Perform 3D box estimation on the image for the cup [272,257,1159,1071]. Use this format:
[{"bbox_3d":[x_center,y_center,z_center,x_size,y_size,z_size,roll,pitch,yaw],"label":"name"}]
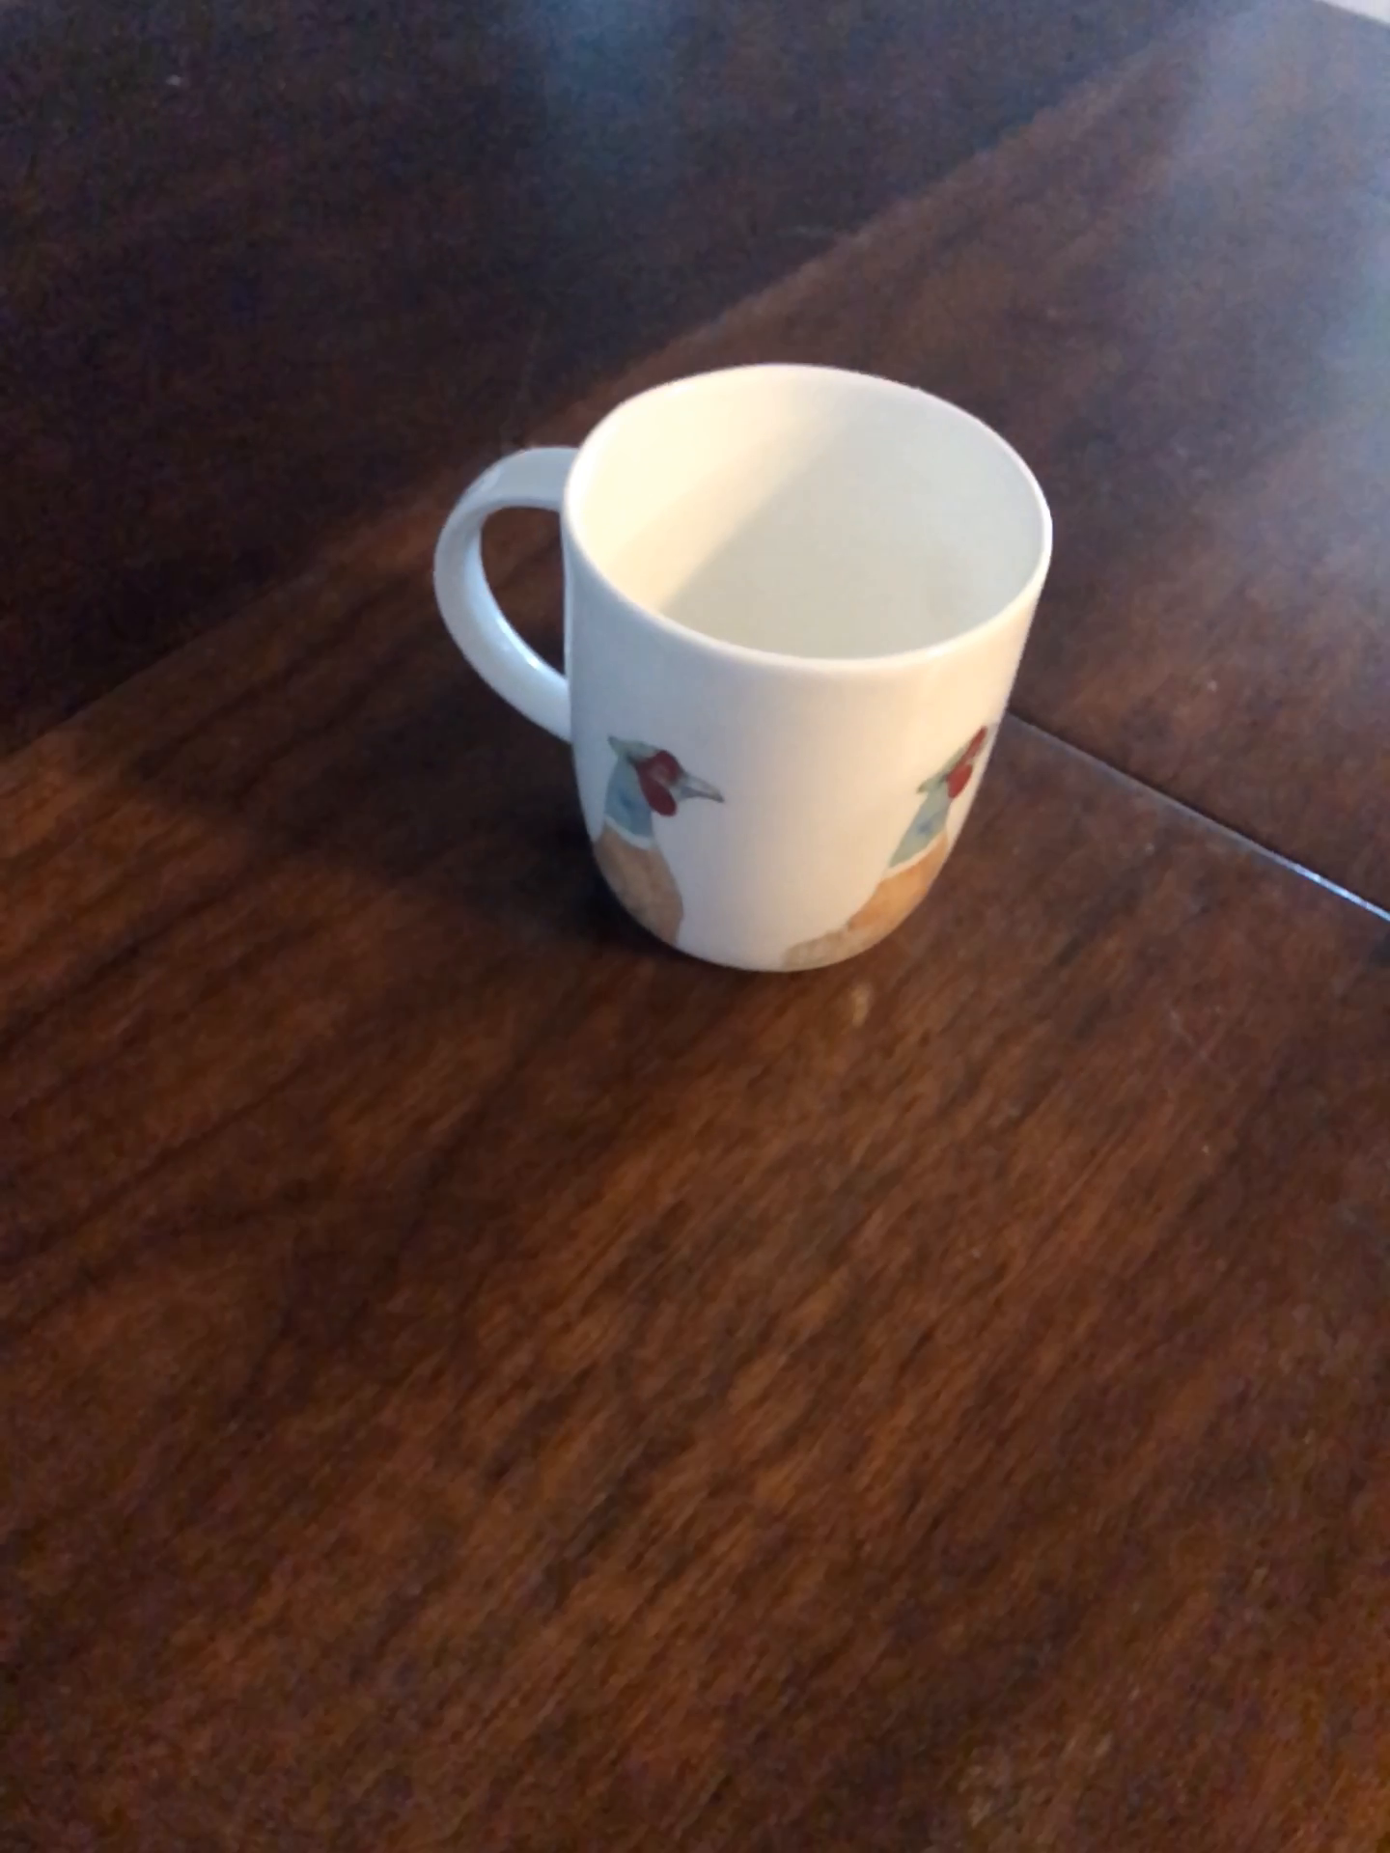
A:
[{"bbox_3d":[0.006,-0.052,0.301,0.130,0.090,0.090,17,51,10],"label":"cup"}]
